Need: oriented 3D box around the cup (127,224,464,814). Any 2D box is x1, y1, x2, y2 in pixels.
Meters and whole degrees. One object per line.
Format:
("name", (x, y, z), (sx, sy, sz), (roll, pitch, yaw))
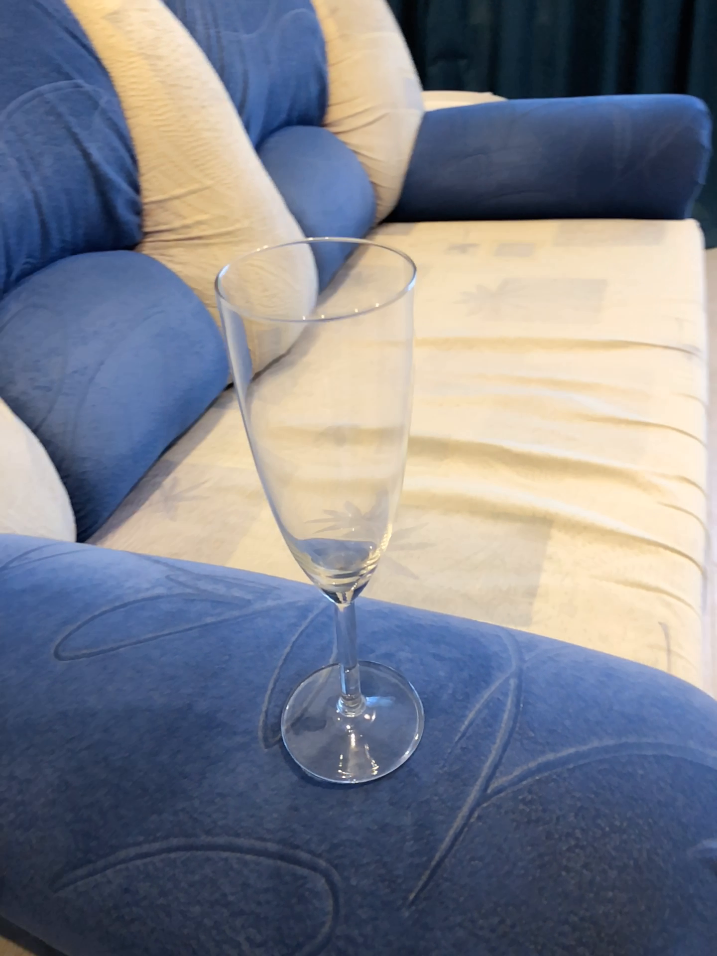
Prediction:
("cup", (-0.009, 0.023, 0.302), (0.076, 0.214, 0.072), (-4, 35, 3))
